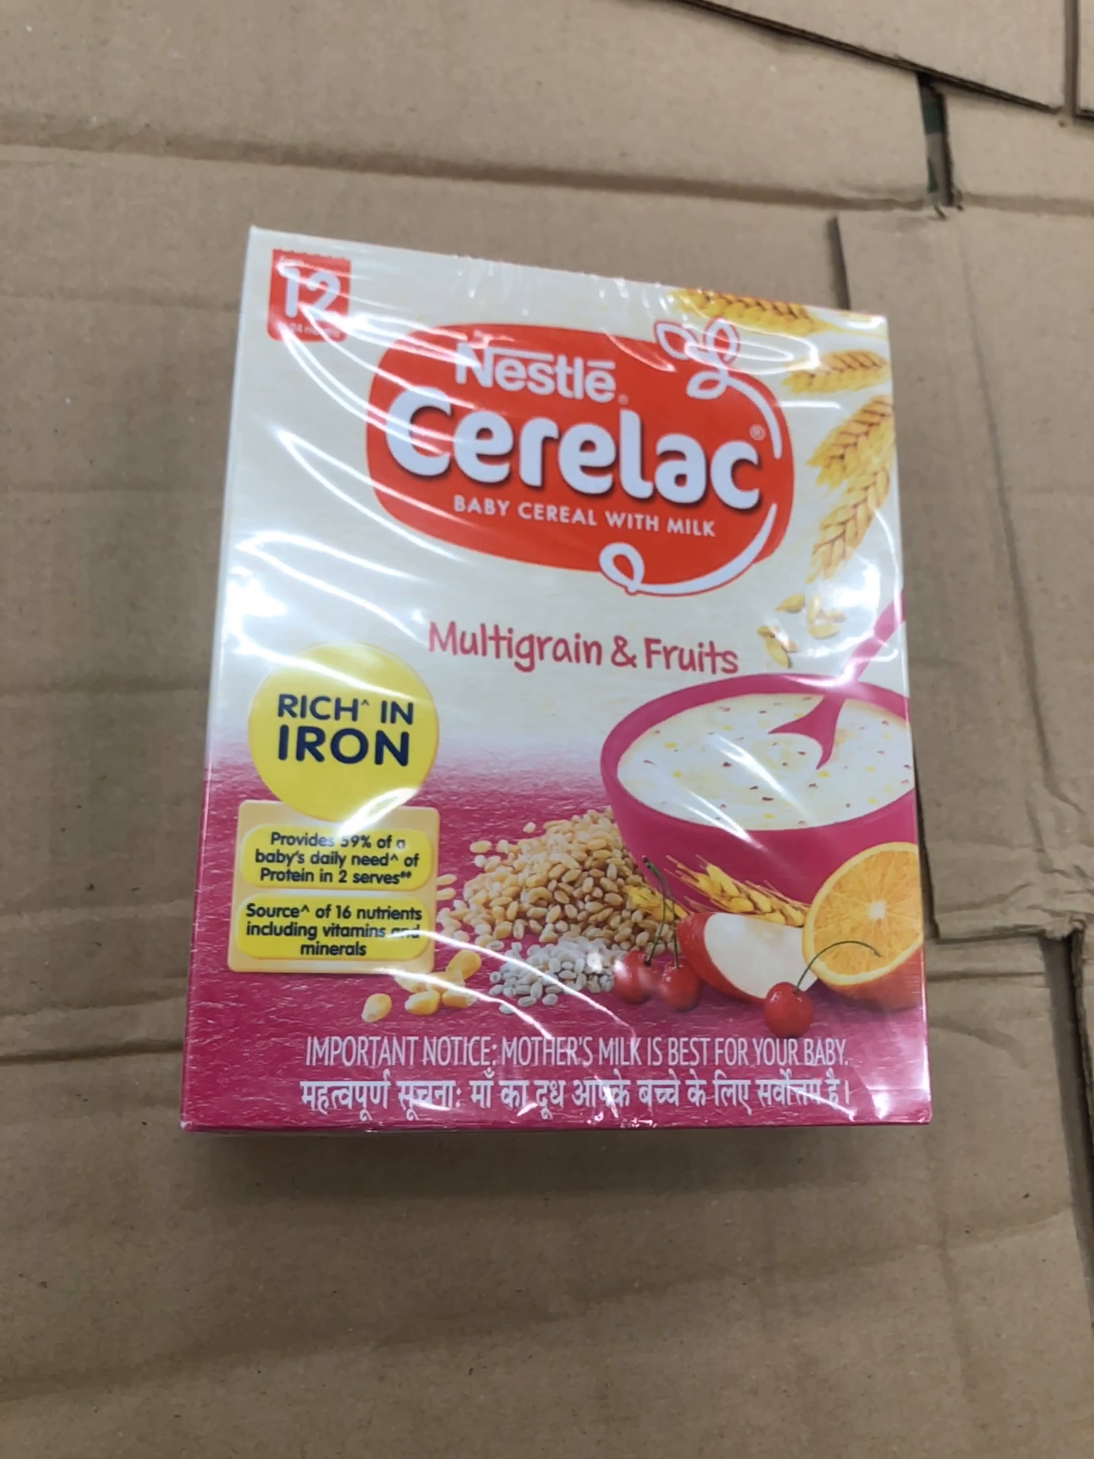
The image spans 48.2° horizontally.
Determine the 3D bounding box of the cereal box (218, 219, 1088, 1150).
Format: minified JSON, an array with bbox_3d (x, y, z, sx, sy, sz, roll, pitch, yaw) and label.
[{"bbox_3d":[0.020,-0.006,0.258,0.160,0.050,0.170,3,78,-12],"label":"cereal box"}]
